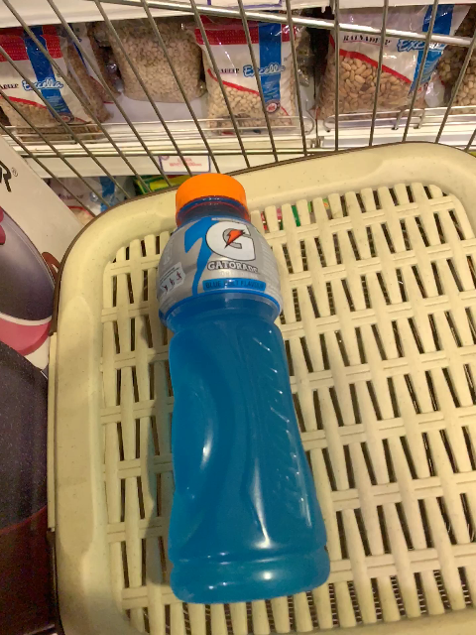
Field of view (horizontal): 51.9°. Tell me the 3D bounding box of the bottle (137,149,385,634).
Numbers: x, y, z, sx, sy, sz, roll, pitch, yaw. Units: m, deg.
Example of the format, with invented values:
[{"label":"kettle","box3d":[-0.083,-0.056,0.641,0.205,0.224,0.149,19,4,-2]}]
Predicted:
[{"label":"bottle","box3d":[-0.003,0.024,0.235,0.080,0.060,0.210,-3,68,-10]}]
